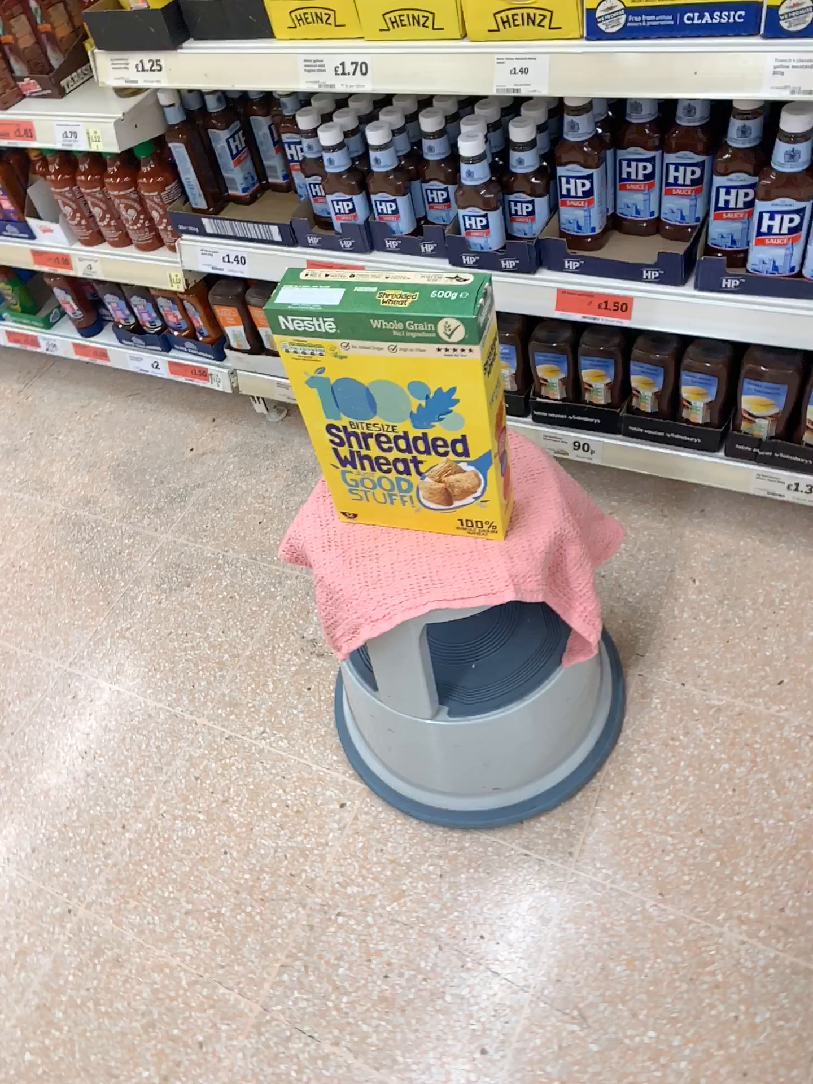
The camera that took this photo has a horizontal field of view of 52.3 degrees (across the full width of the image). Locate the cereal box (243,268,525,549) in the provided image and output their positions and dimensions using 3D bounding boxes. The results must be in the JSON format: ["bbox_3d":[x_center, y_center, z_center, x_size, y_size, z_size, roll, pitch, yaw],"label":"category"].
[{"bbox_3d":[-0.007,-0.121,0.805,0.210,0.277,0.070,9,54,20],"label":"cereal box"}]
